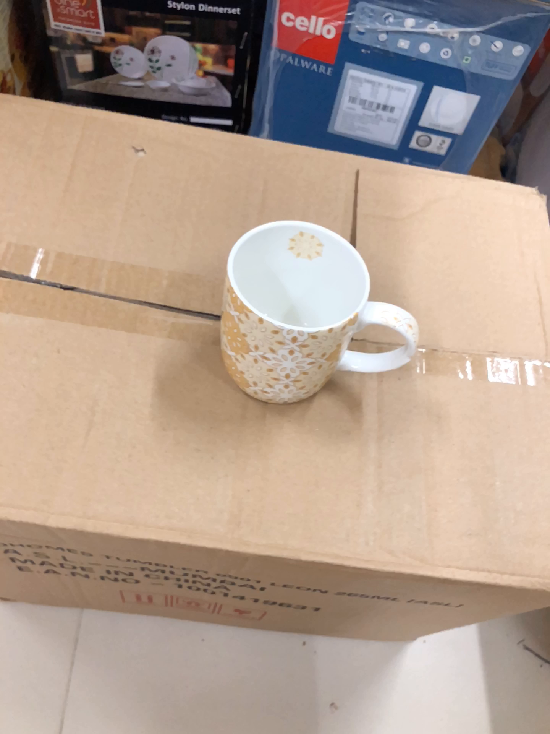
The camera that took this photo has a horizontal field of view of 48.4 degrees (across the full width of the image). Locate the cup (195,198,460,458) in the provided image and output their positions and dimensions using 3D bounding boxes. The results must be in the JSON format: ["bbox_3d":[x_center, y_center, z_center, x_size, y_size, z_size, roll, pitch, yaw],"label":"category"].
[{"bbox_3d":[0.027,-0.019,0.349,0.120,0.090,0.080,17,56,0],"label":"cup"}]
